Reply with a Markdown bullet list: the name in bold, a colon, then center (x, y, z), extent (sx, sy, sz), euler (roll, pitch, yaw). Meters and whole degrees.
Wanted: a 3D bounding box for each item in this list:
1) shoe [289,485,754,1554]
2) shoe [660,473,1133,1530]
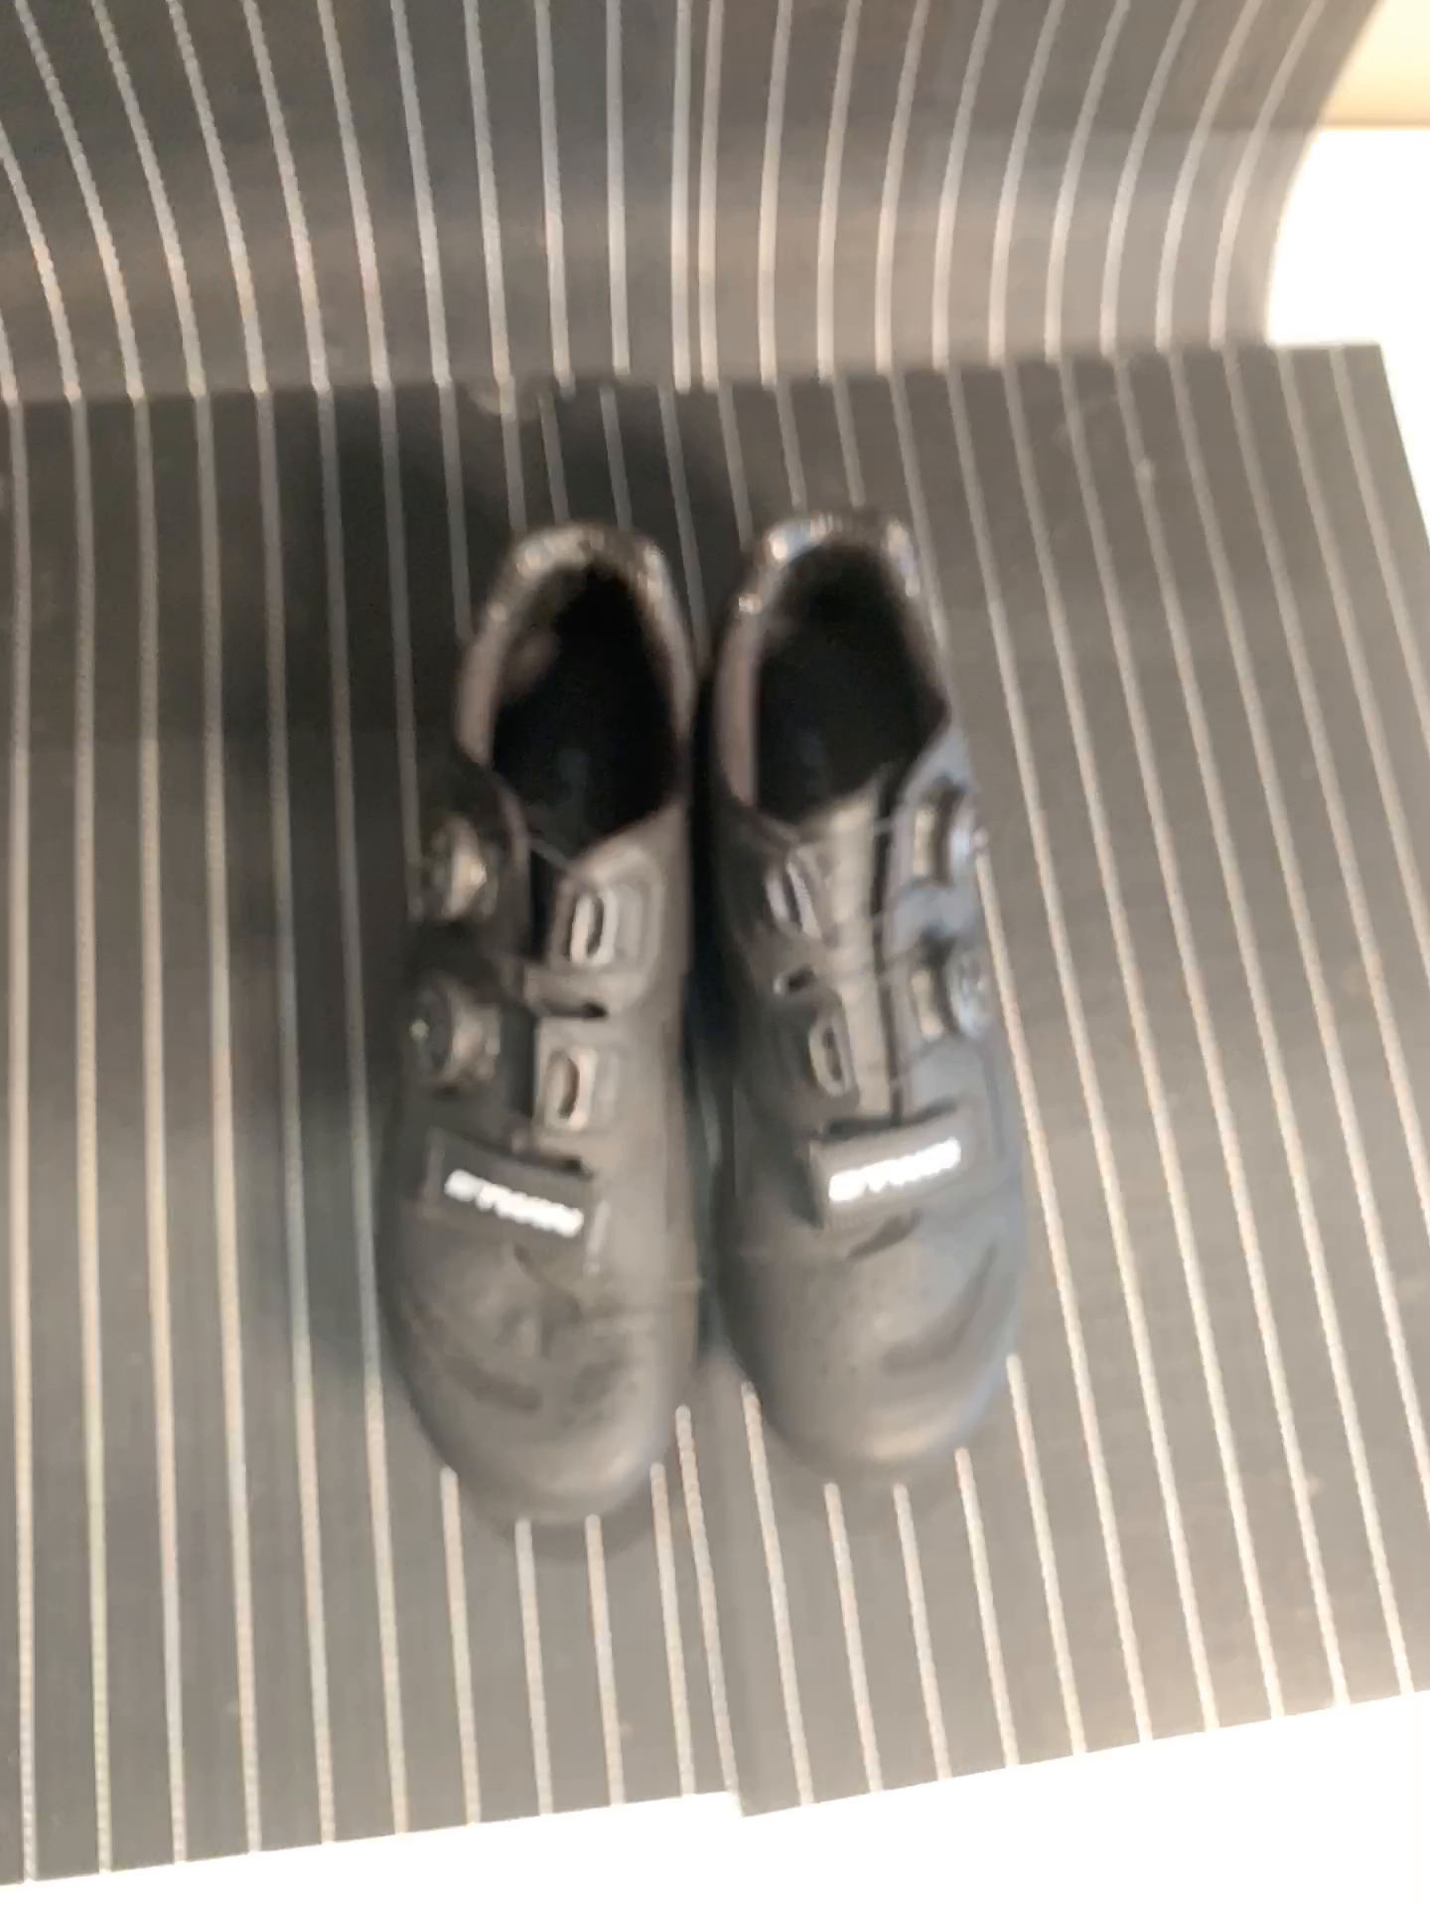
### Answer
- **shoe**: center (-0.045, 0.017, 0.408), extent (0.100, 0.090, 0.260), euler (2, 77, -4)
- **shoe**: center (0.041, 0.010, 0.426), extent (0.100, 0.090, 0.270), euler (-1, 78, -5)
